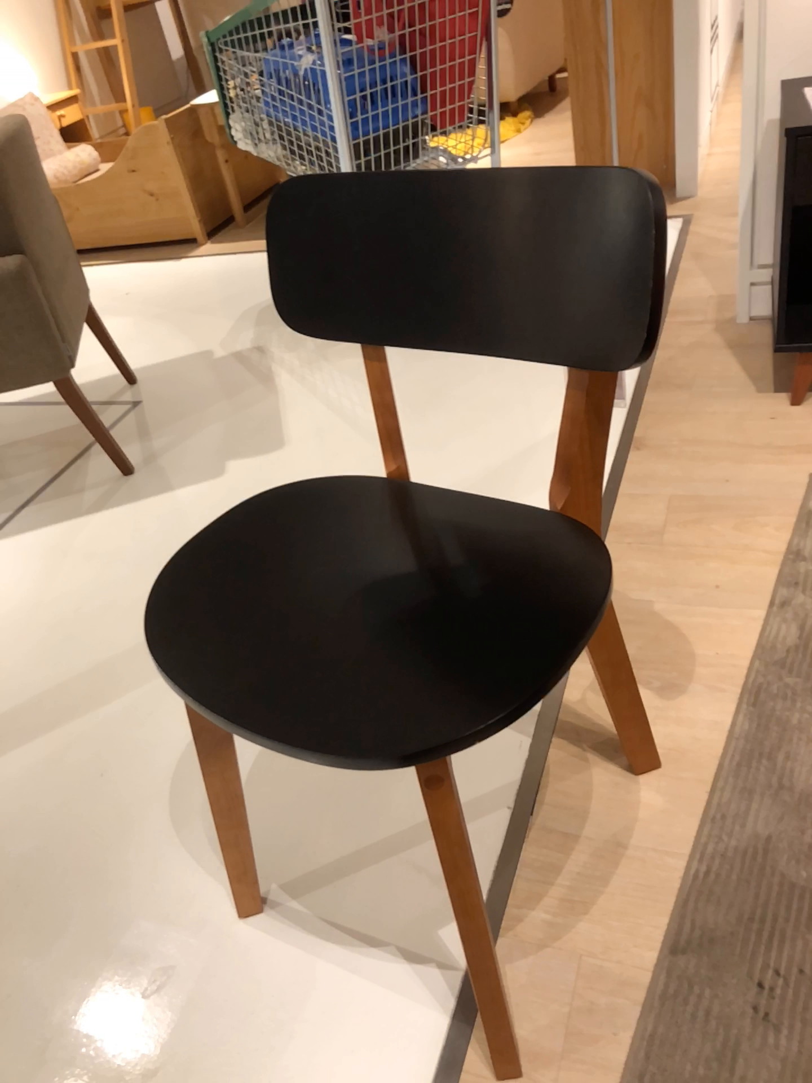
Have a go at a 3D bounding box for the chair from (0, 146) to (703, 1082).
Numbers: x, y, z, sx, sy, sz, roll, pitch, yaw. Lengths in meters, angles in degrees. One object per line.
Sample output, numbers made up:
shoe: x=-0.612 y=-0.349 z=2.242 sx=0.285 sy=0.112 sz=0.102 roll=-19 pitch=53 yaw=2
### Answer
chair: x=-0.007 y=0.049 z=0.914 sx=0.461 sy=0.705 sz=0.482 roll=13 pitch=43 yaw=33
